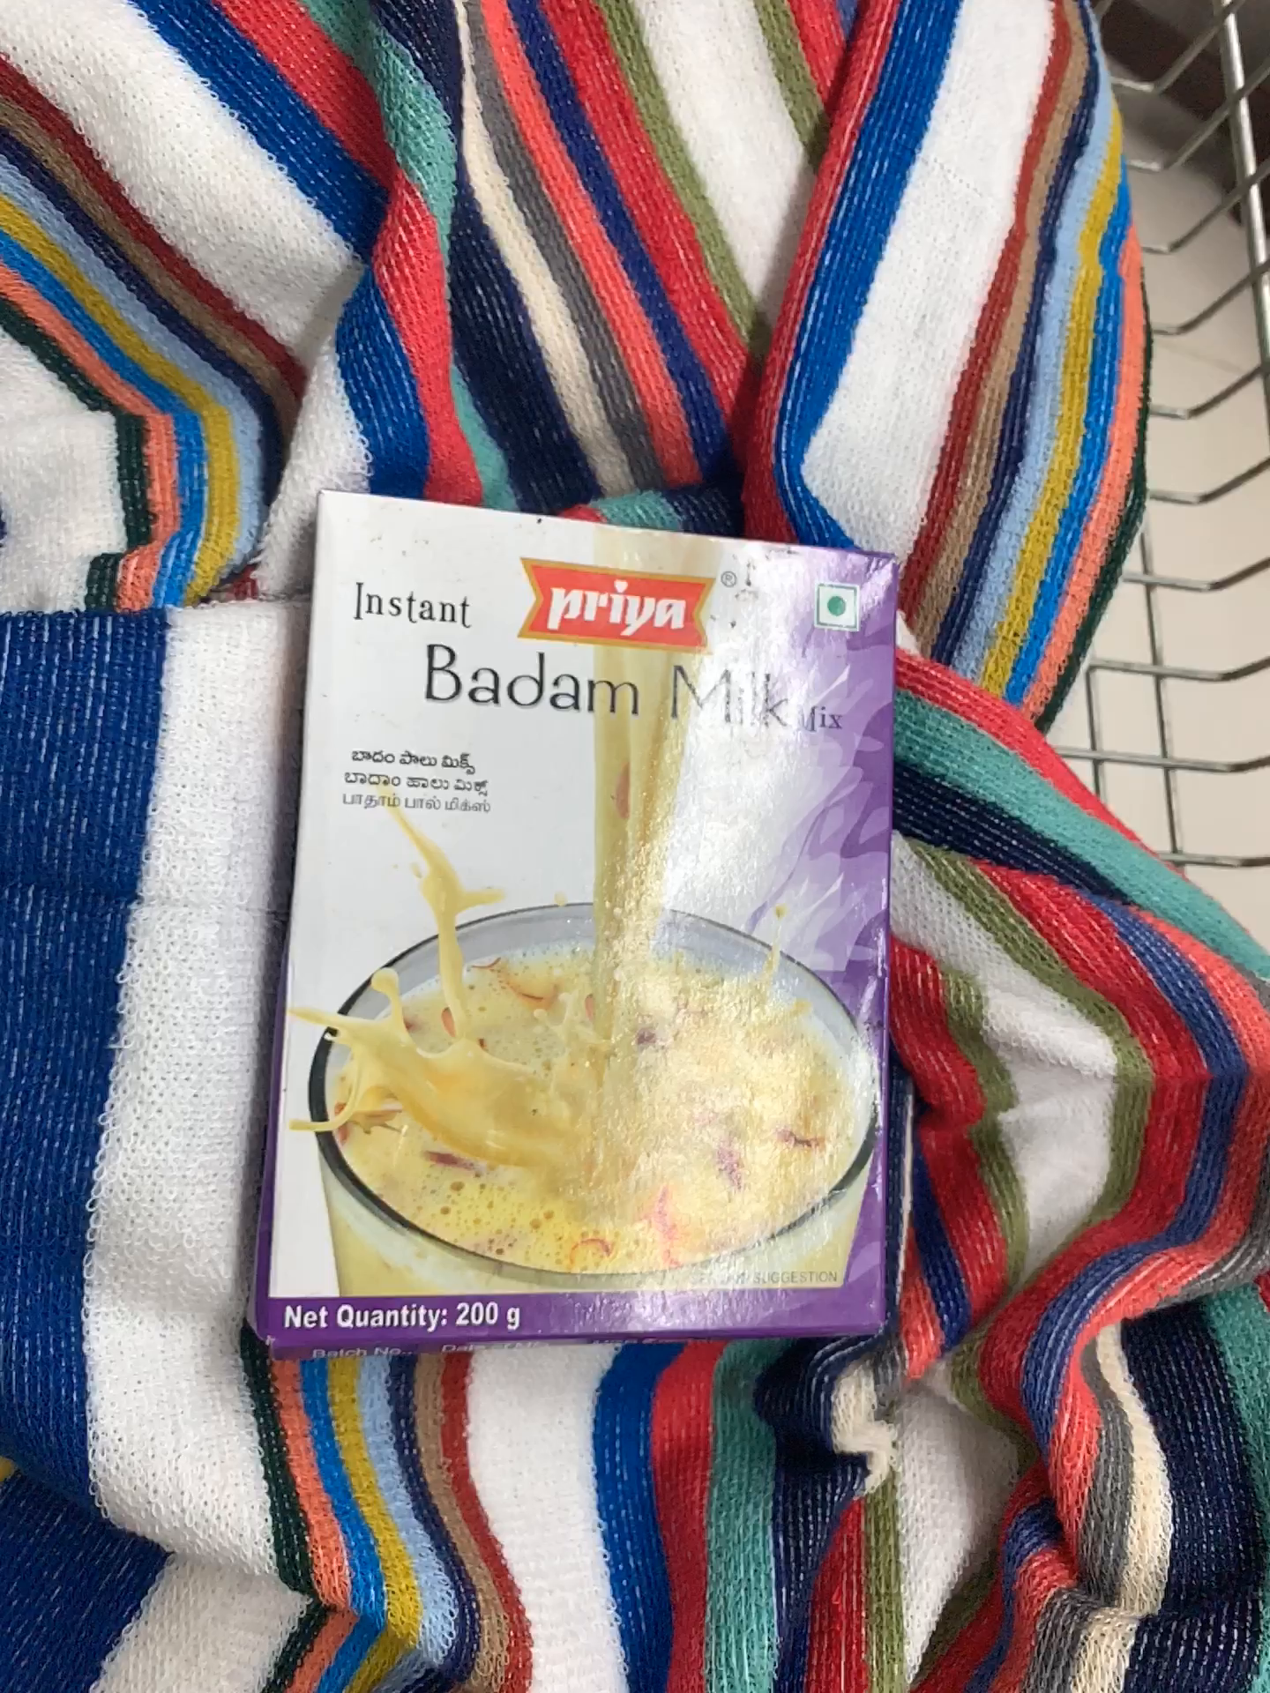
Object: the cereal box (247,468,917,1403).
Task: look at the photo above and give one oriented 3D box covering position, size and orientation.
[{"bbox_3d":[-0.008,0.018,0.257,0.120,0.030,0.160,4,84,-16],"label":"cereal box"}]
